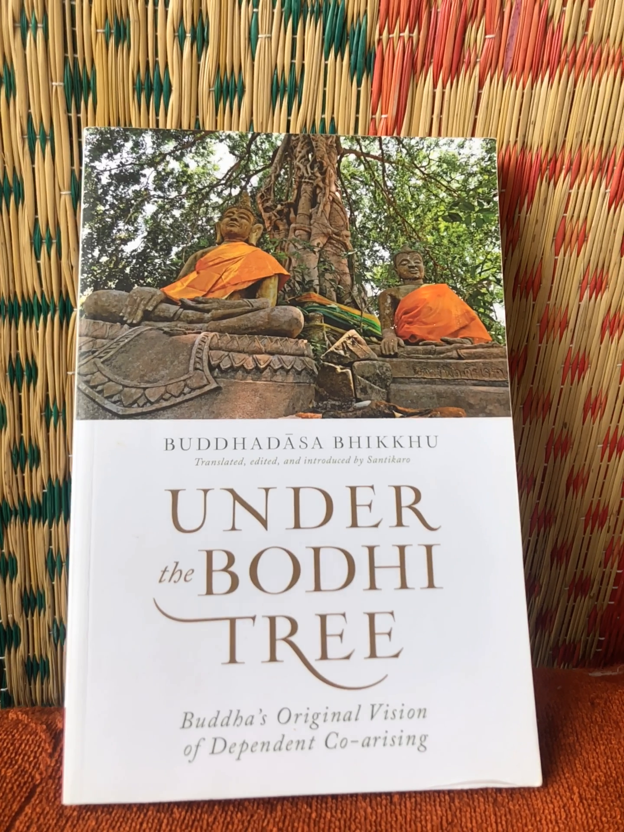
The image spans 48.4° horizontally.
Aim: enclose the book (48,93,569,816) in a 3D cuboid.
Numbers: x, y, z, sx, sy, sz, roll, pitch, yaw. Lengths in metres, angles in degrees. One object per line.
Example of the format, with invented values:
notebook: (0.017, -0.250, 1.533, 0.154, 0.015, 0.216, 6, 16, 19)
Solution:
book: (-0.002, 0.005, 0.242, 0.160, 0.230, 0.030, -1, -8, -5)
